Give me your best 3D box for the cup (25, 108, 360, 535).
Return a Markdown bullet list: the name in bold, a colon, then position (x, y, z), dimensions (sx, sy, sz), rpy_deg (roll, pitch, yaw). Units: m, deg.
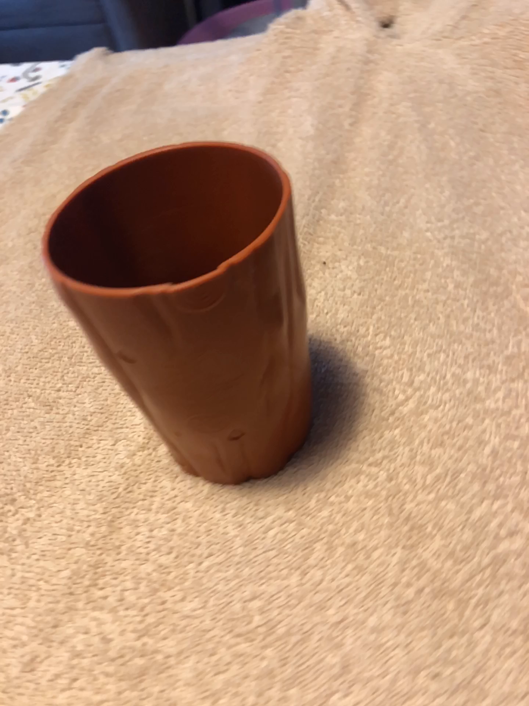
- **cup**: position (-0.019, -0.009, 0.218), dimensions (0.080, 0.109, 0.091), rpy_deg (-14, 47, 0)
